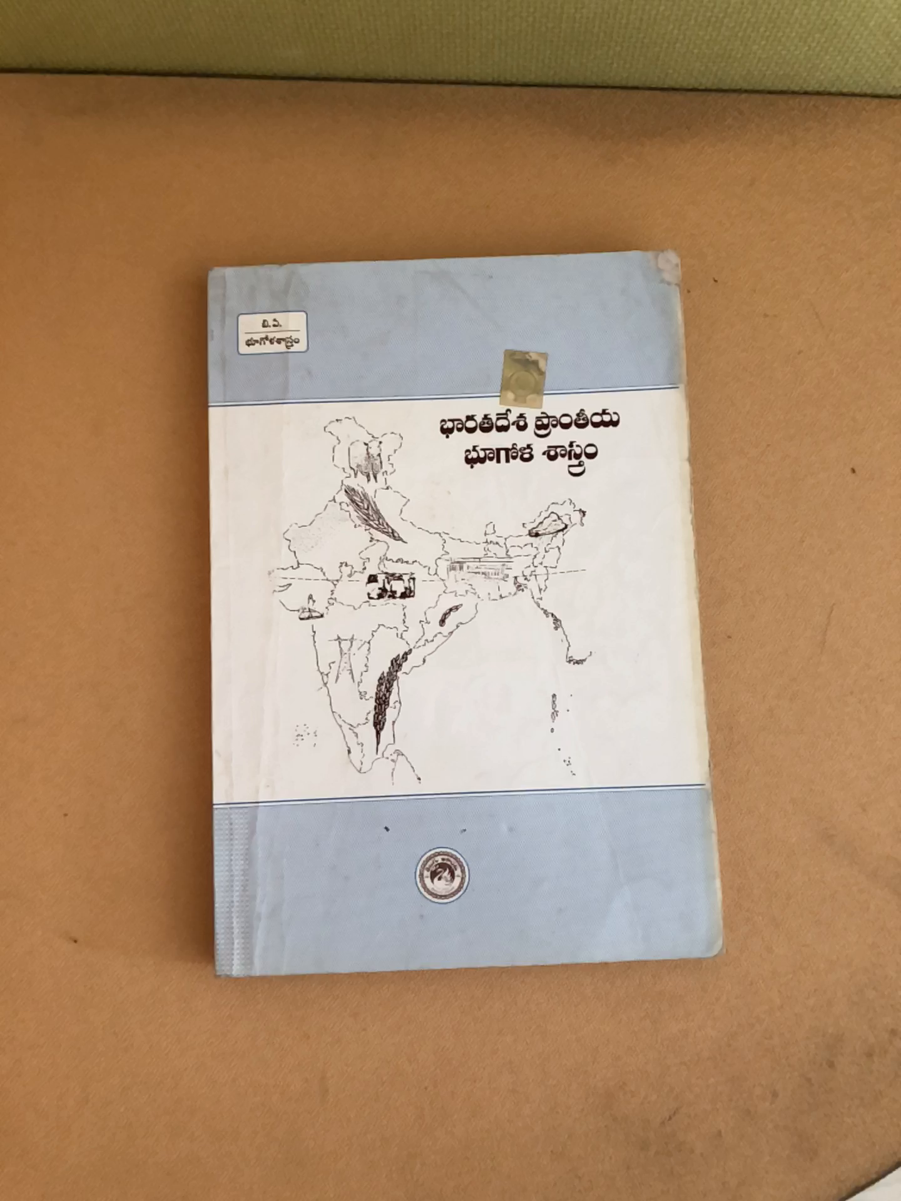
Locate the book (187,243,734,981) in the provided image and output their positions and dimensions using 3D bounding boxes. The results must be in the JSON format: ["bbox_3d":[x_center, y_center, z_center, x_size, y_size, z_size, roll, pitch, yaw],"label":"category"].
[{"bbox_3d":[-0.001,0.000,0.358,0.180,0.030,0.250,-2,83,0],"label":"book"}]
